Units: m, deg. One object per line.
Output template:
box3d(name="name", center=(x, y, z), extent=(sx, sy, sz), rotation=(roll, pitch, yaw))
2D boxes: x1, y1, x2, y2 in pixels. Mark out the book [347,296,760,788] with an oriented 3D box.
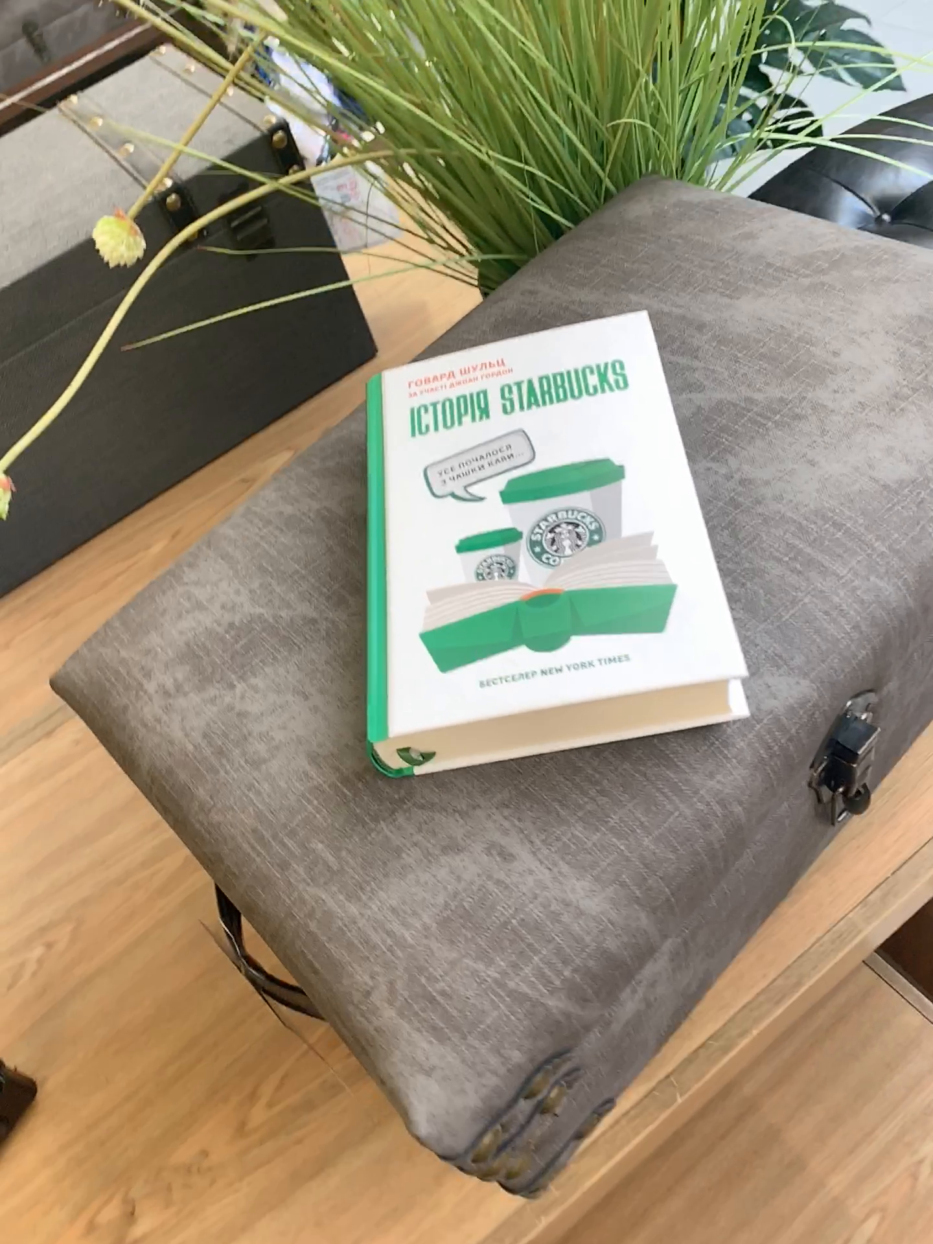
box3d(name="book", center=(0.028, -0.049, 0.451), extent=(0.160, 0.040, 0.235), rotation=(-11, 52, 9))
